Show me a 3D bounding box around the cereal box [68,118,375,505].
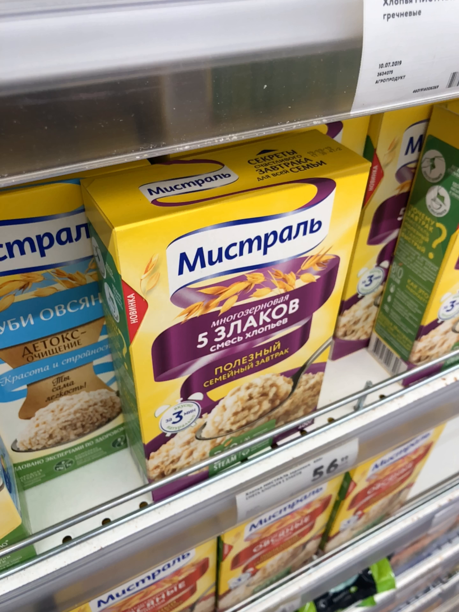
[{"bbox_3d":[-0.003,0.014,0.300,0.130,0.209,0.050,-20,46,-22],"label":"cereal box"}]
